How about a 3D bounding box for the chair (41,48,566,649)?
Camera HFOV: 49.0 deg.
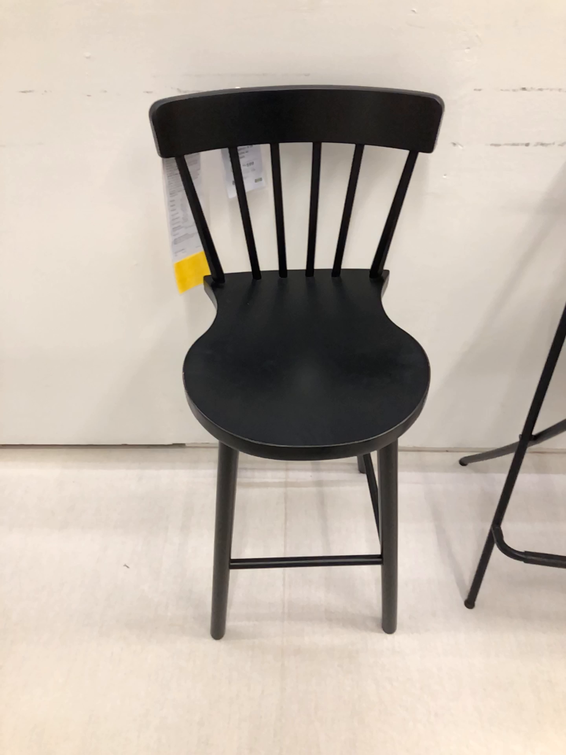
[{"bbox_3d":[0.020,0.023,1.016,0.460,0.874,0.483,-2,46,-1],"label":"chair"}]
